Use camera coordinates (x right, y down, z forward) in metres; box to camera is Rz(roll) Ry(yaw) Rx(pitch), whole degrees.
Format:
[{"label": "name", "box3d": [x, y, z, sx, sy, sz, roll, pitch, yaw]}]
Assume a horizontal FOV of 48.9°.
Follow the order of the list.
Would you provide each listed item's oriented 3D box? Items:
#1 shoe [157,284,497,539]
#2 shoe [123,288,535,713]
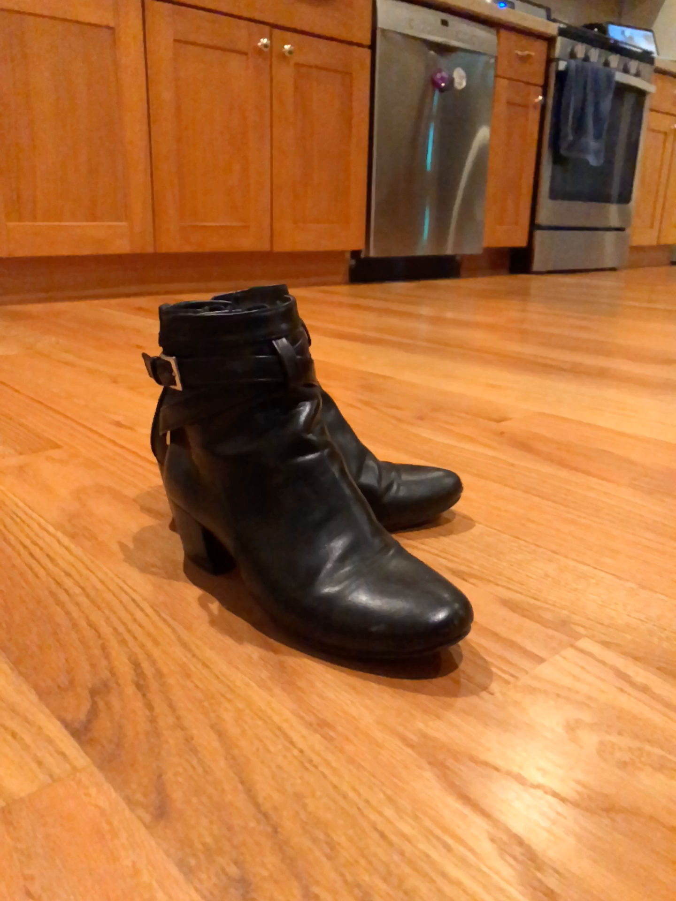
[{"label": "shoe", "box3d": [-0.010, -0.032, 0.562, 0.226, 0.172, 0.090, 0, 16, -3]}, {"label": "shoe", "box3d": [-0.019, 0.005, 0.427, 0.226, 0.172, 0.090, 17, 22, 42]}]
